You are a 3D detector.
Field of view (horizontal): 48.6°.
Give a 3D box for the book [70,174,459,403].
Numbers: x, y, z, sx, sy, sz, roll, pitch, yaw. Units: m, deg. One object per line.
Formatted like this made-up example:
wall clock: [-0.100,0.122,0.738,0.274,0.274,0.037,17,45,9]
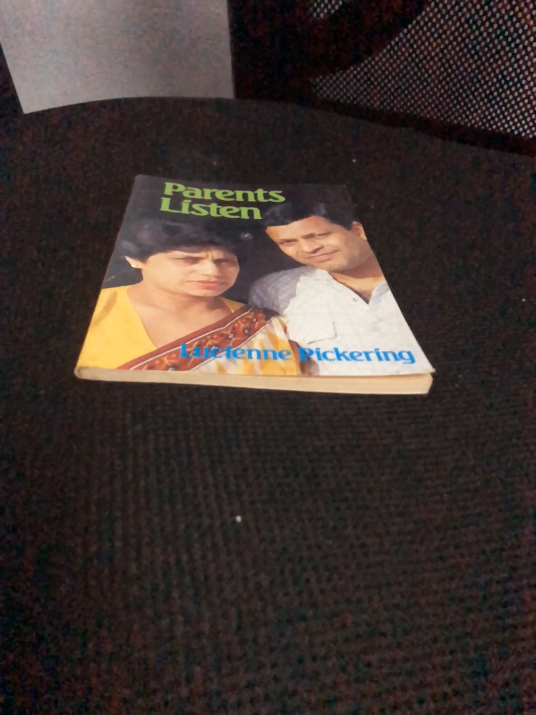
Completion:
book: [-0.006,-0.045,0.277,0.130,0.010,0.191,2,35,-6]
